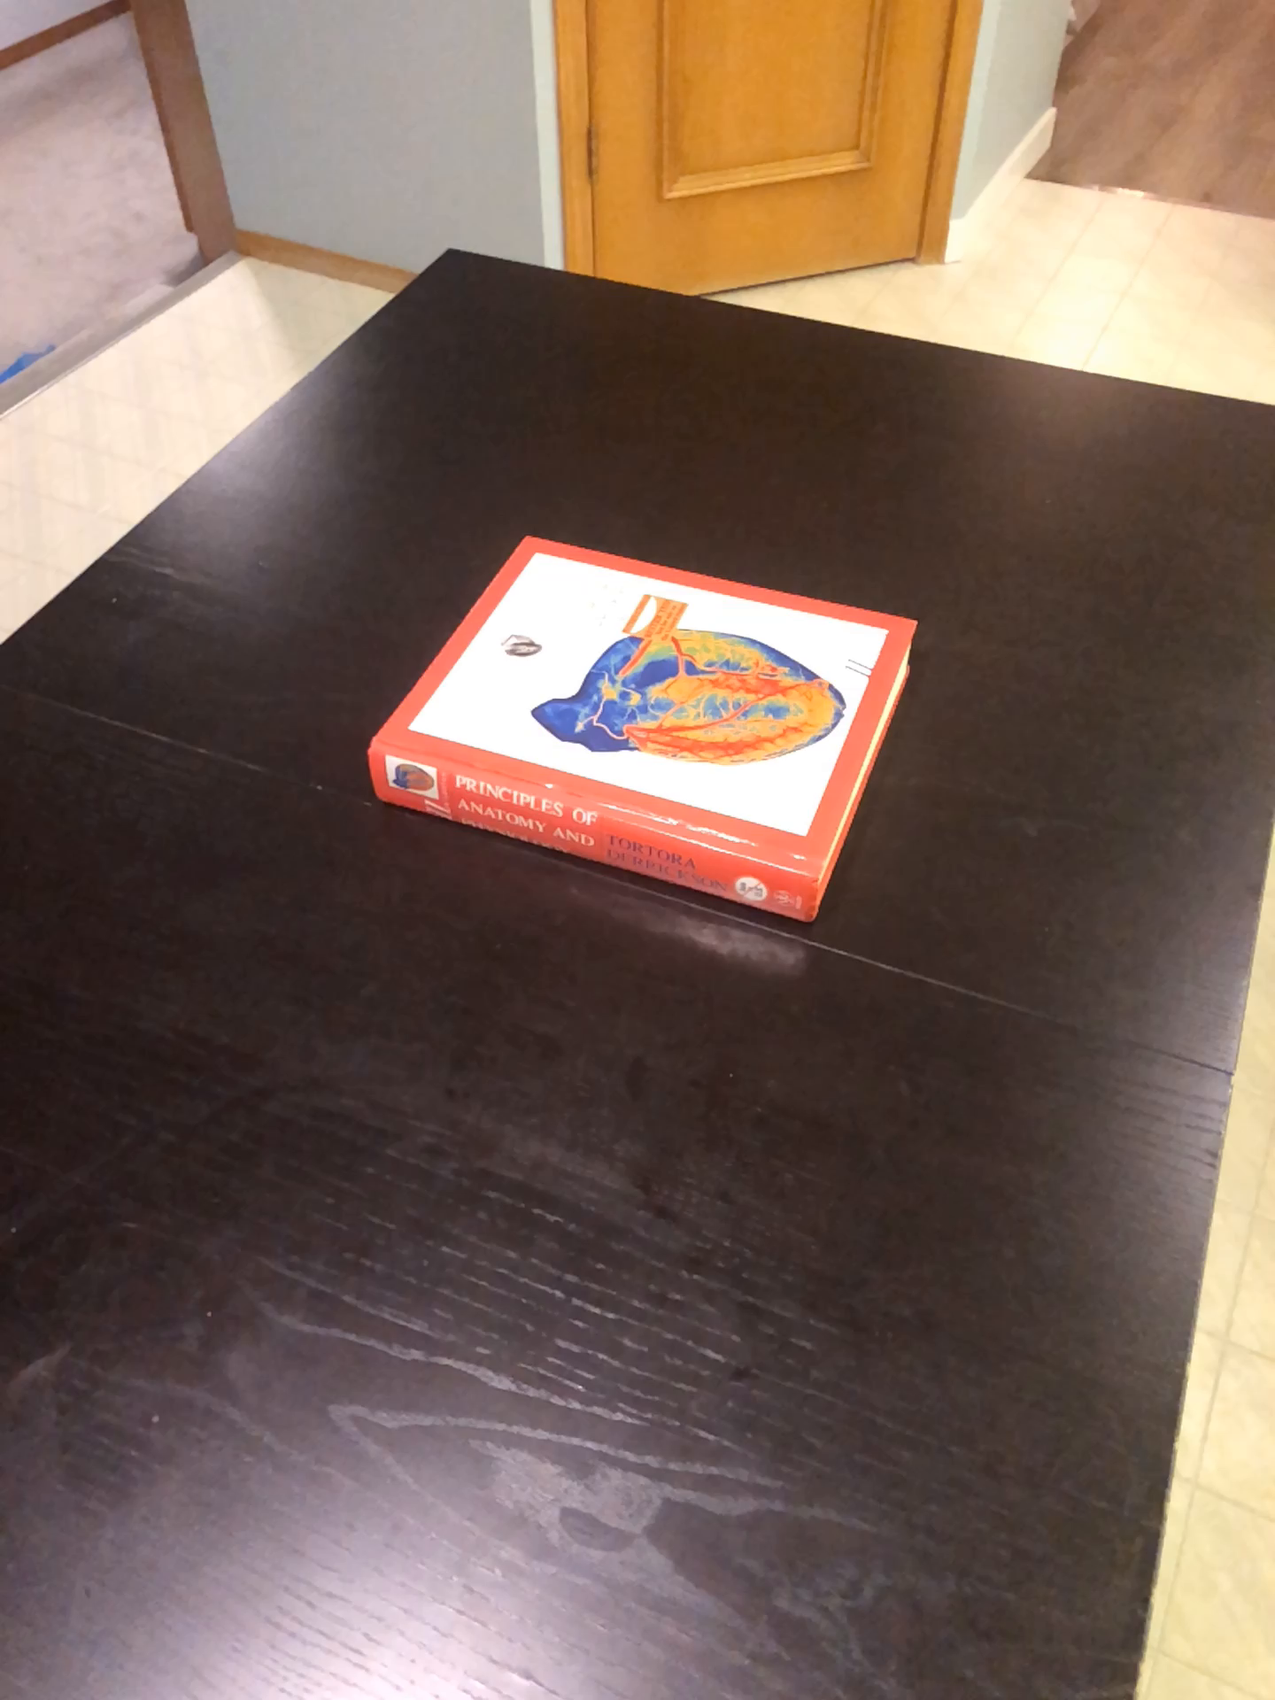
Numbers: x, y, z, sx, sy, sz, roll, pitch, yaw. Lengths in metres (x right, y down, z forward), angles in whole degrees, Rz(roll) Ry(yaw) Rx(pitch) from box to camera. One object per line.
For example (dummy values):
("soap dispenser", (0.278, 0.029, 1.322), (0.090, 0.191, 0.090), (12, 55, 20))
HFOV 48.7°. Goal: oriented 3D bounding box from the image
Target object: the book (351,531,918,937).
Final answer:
("book", (0.007, -0.089, 0.908), (0.290, 0.050, 0.251), (14, 49, 14))
